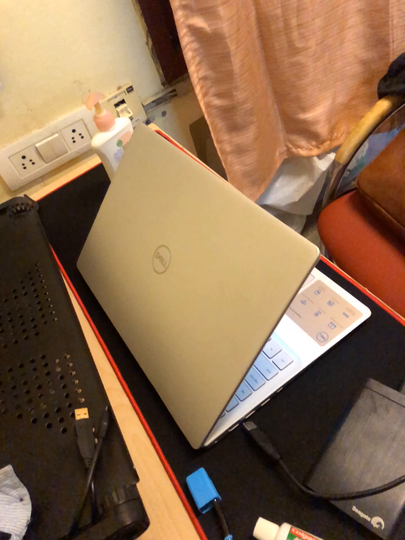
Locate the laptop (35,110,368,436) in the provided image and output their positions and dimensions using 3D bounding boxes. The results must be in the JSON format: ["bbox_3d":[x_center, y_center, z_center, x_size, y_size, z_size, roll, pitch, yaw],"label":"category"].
[{"bbox_3d":[-0.015,-0.030,0.541,0.218,0.140,0.352,-34,48,-13],"label":"laptop"}]
